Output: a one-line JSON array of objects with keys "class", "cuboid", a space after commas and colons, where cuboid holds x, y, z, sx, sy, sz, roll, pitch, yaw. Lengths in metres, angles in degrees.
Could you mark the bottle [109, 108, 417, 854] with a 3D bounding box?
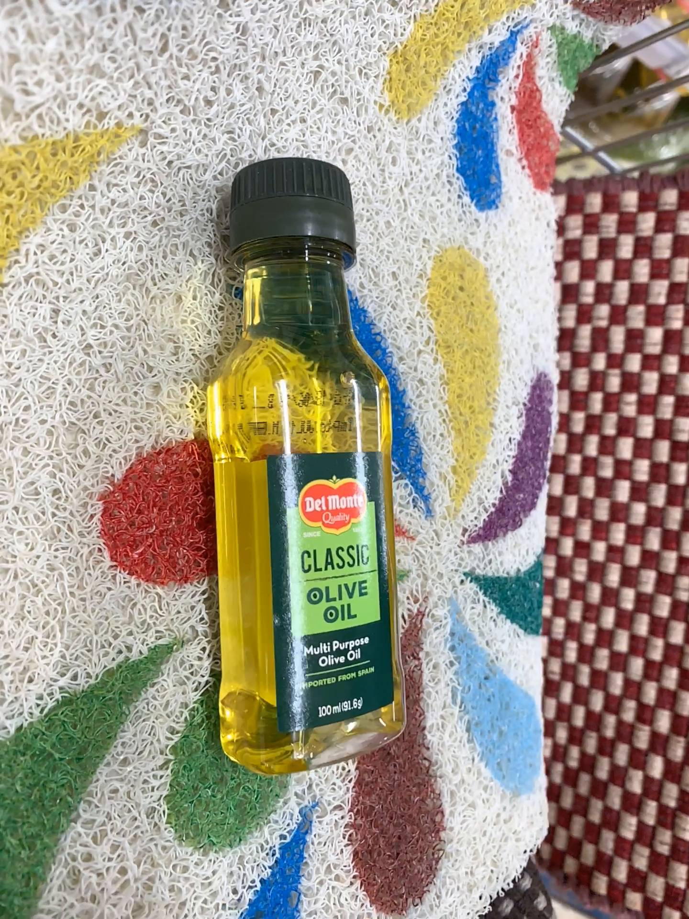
[{"class": "bottle", "cuboid": [-0.017, 0.004, 0.157, 0.050, 0.040, 0.130, 0, 92, -45]}]
